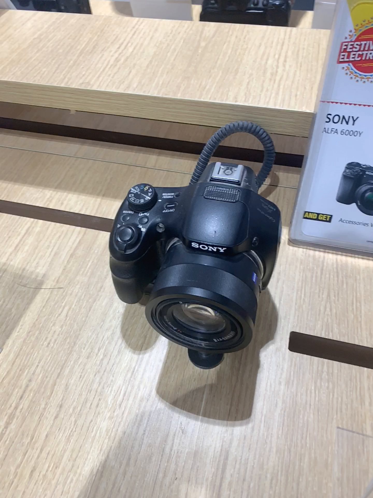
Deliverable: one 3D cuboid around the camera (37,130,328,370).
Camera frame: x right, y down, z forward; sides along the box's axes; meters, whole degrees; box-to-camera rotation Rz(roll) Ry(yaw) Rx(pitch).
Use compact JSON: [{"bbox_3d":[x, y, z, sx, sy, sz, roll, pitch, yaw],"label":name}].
[{"bbox_3d":[0.005,0.001,0.247,0.140,0.100,0.090,9,53,10],"label":"camera"}]
